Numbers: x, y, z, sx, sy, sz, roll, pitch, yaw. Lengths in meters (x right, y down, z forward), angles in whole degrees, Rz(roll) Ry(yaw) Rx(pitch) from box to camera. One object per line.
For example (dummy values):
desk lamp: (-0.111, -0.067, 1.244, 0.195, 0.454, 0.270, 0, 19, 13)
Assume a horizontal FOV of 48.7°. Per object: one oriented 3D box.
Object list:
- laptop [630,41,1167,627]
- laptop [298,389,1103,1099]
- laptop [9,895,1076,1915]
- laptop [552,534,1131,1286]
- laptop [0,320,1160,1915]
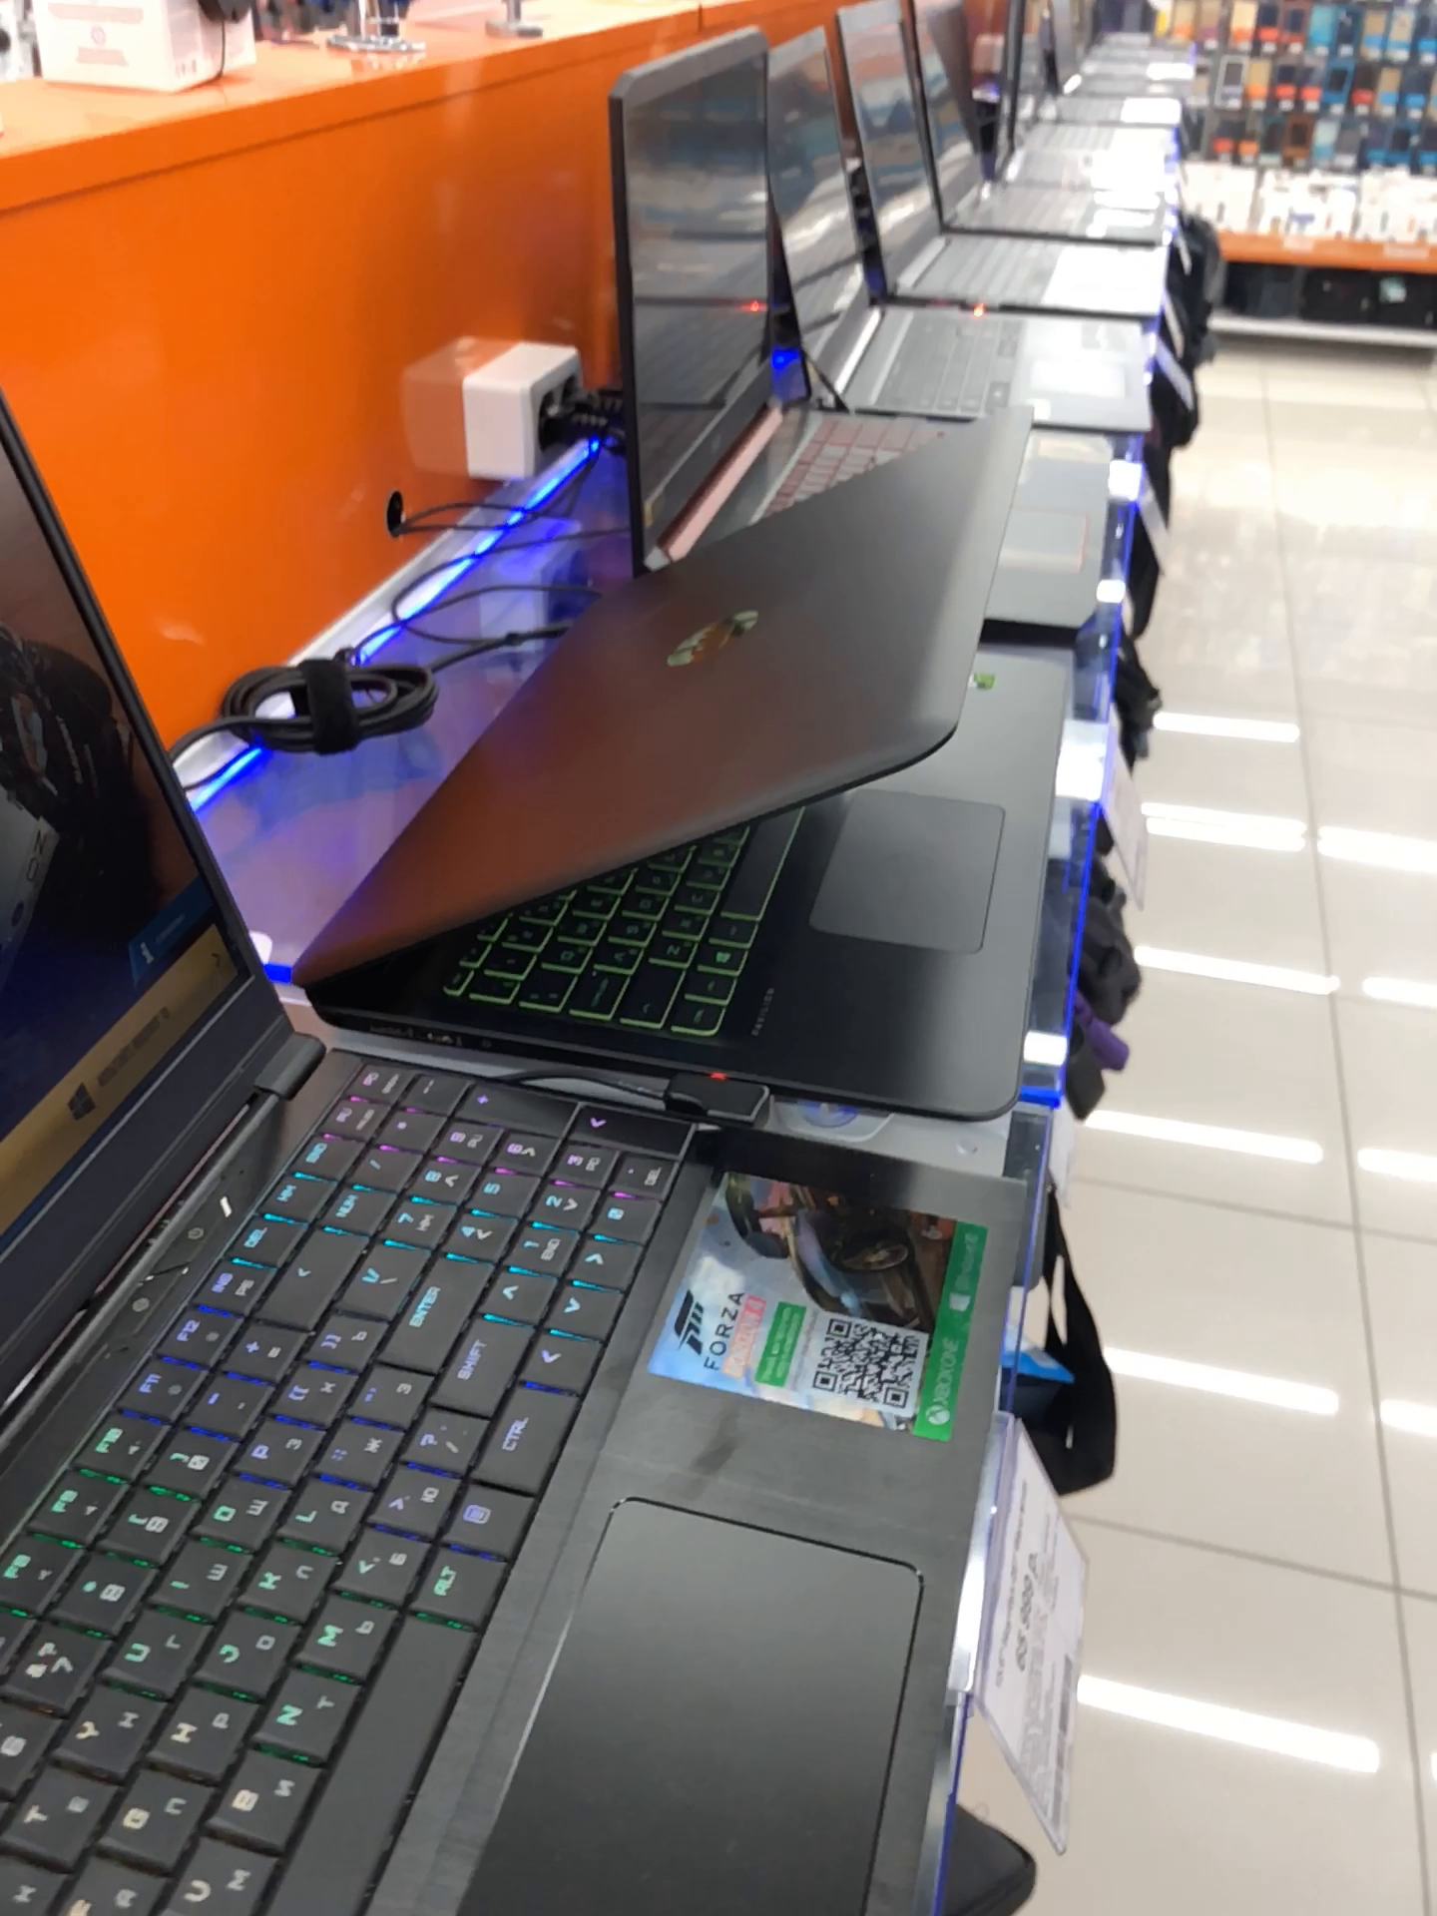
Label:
laptop: (0.120, -0.407, 0.985, 0.253, 0.245, 0.411, 7, 33, 6)
laptop: (0.026, -0.118, 0.651, 0.227, 0.118, 0.371, 9, 34, 10)
laptop: (-0.017, 0.190, 0.632, 0.262, 0.217, 0.414, 9, 33, 11)
laptop: (0.092, -0.058, 0.989, 0.274, 0.254, 0.399, 8, 35, 11)
laptop: (-0.090, 0.042, 0.299, 0.303, 0.219, 0.342, 9, 33, 10)
